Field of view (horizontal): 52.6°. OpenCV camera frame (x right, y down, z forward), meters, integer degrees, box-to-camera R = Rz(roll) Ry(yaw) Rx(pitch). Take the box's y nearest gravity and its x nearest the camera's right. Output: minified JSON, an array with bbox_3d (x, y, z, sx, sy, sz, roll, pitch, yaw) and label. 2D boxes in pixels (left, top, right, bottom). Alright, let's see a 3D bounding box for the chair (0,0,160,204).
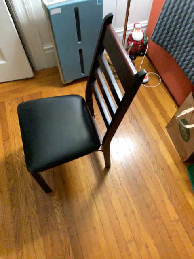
[{"bbox_3d":[-0.172,-0.044,0.973,0.550,0.867,0.492,-18,63,-9],"label":"chair"}]
